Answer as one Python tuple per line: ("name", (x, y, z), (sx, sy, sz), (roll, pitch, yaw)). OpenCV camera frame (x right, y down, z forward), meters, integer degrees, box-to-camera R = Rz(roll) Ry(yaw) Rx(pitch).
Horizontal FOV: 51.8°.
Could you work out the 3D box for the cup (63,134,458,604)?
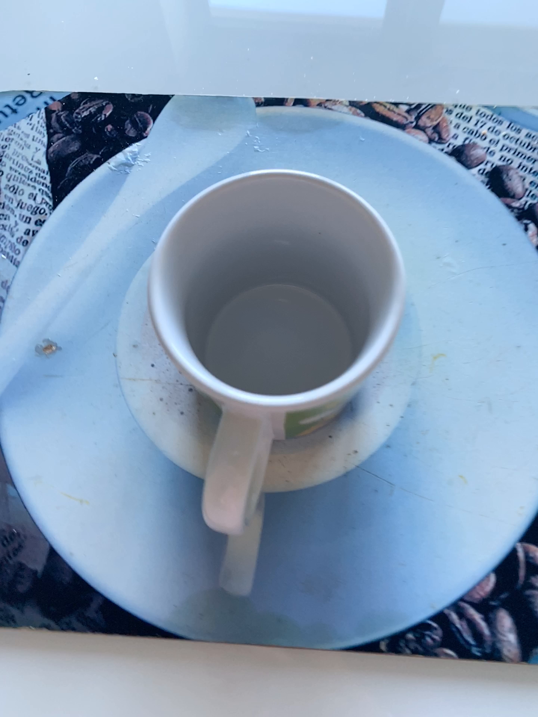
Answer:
("cup", (0.003, 0.004, 0.211), (0.094, 0.077, 0.133), (13, 76, 5))
